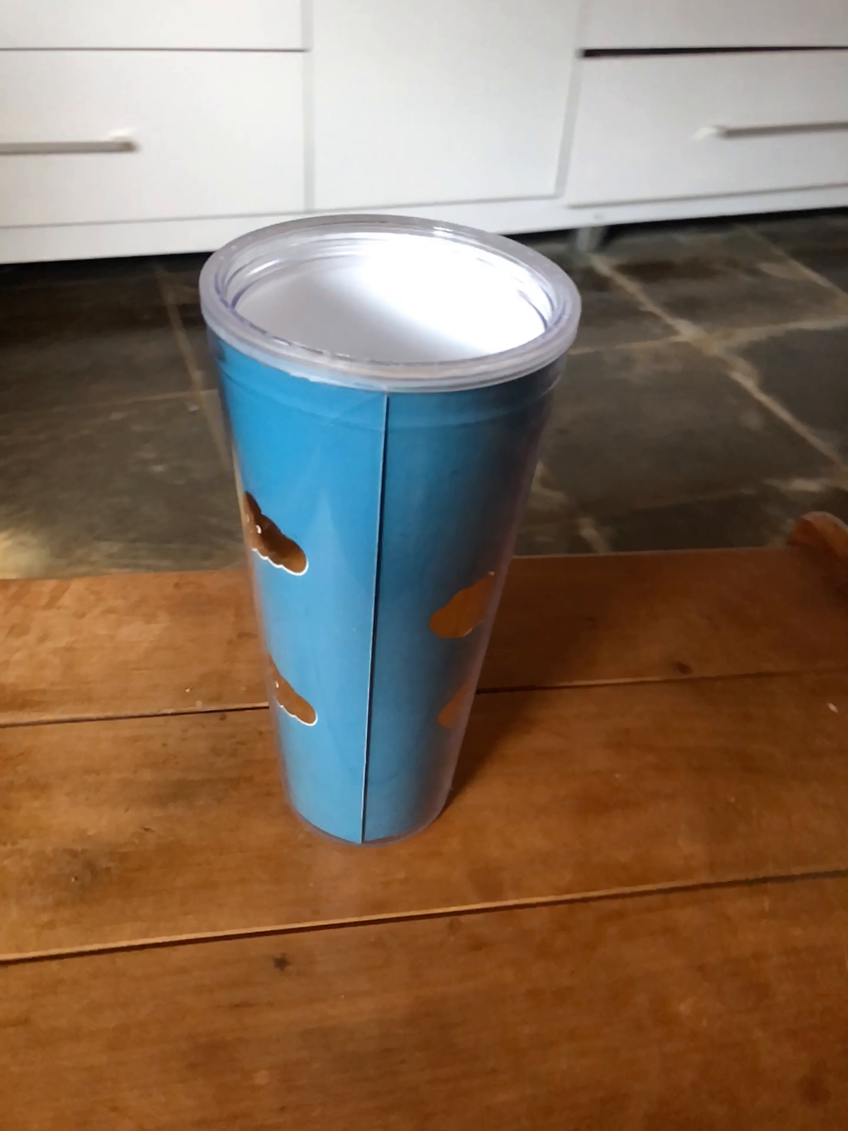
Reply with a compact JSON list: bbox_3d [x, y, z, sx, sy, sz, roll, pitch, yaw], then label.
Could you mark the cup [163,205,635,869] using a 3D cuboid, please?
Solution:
[{"bbox_3d":[-0.011,-0.002,0.295,0.100,0.179,0.101,3,39,-2],"label":"cup"}]
